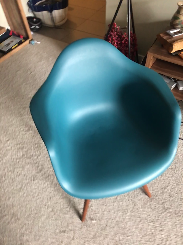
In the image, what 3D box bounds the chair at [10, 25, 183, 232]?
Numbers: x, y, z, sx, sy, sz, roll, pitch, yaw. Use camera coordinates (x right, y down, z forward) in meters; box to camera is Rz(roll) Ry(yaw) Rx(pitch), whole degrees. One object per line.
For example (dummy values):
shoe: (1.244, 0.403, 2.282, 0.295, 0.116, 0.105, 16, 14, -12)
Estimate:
chair: (0.029, 0.068, 1.010, 0.581, 0.785, 0.563, -15, 50, -9)
